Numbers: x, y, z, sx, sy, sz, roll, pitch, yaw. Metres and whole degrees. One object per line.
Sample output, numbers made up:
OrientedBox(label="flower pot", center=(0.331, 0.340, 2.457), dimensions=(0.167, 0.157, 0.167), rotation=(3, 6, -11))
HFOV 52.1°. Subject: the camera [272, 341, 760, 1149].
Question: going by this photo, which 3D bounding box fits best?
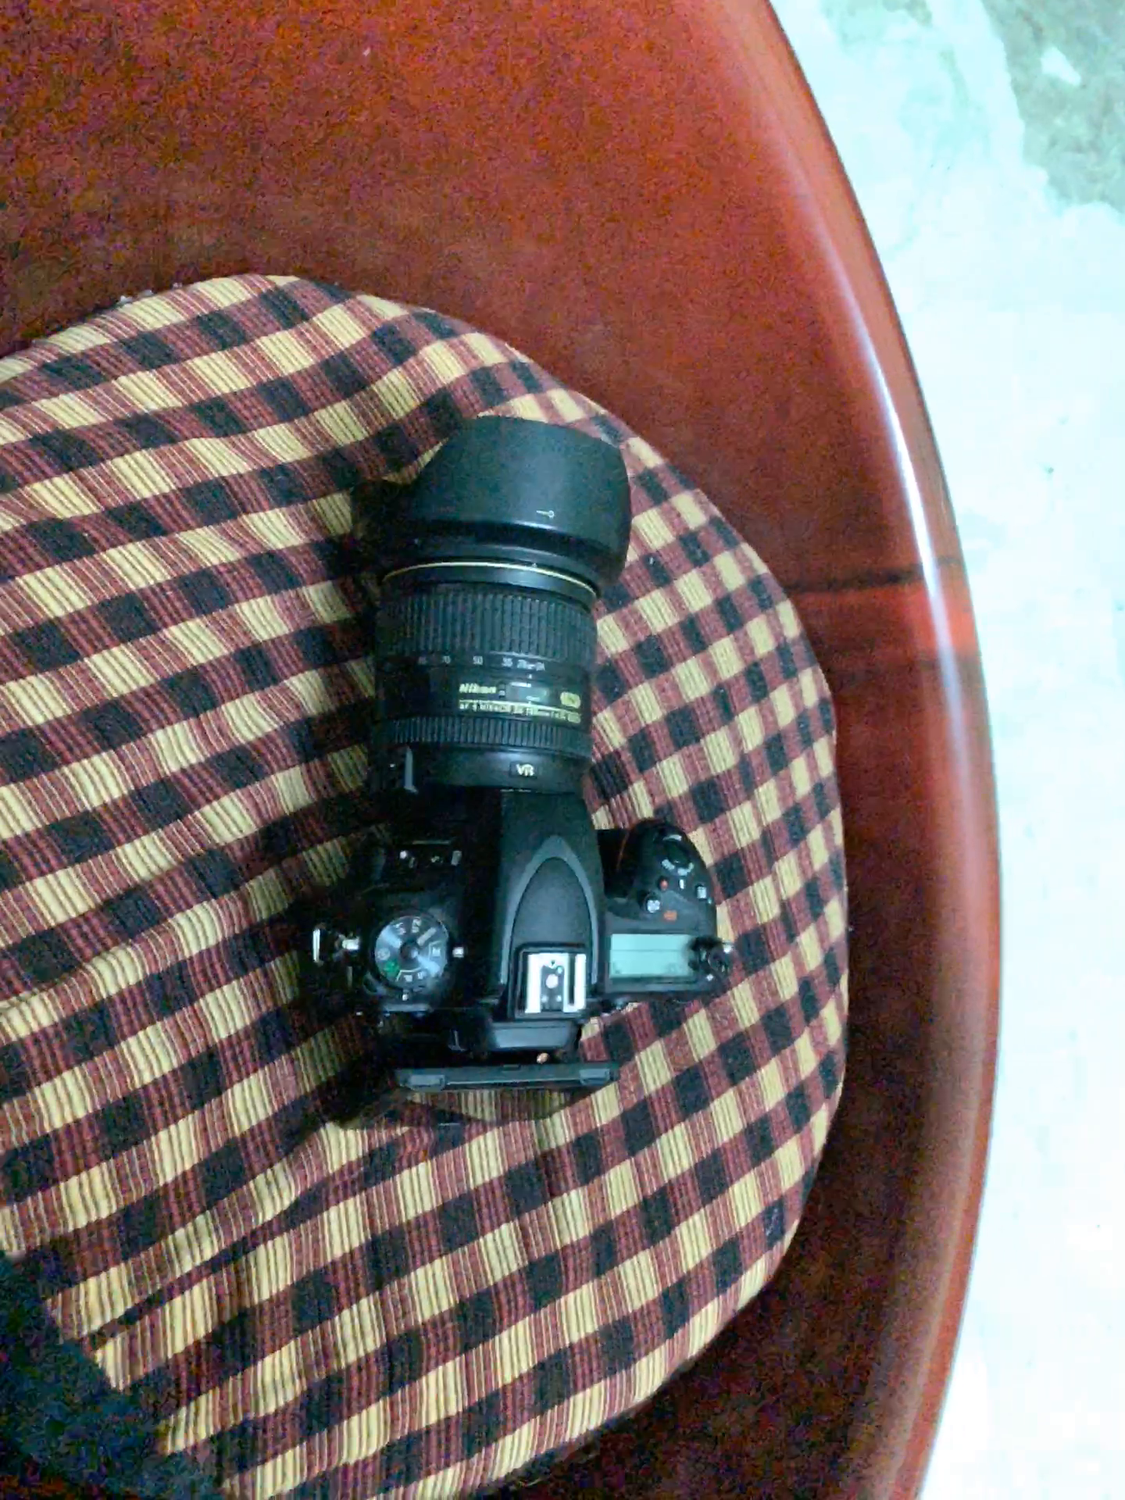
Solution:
OrientedBox(label="camera", center=(-0.018, 0.005, 0.422), dimensions=(0.140, 0.101, 0.250), rotation=(6, 77, -24))
